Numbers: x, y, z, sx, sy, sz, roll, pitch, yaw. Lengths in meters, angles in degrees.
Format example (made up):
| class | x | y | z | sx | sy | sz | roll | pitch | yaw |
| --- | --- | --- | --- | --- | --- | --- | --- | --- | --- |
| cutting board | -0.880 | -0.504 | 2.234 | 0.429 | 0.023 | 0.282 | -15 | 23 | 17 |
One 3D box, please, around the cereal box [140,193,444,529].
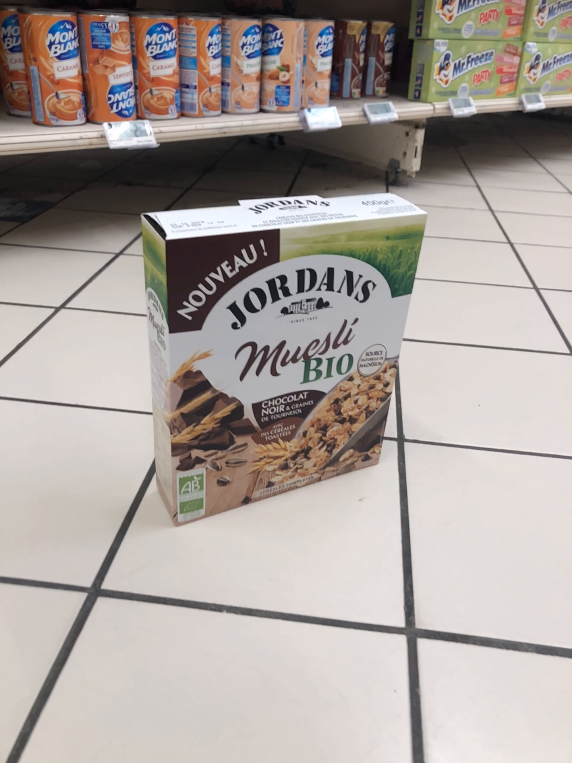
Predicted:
| class | x | y | z | sx | sy | sz | roll | pitch | yaw |
| --- | --- | --- | --- | --- | --- | --- | --- | --- | --- |
| cereal box | 0.003 | -0.016 | 0.449 | 0.191 | 0.209 | 0.050 | -12 | 34 | -25 |
